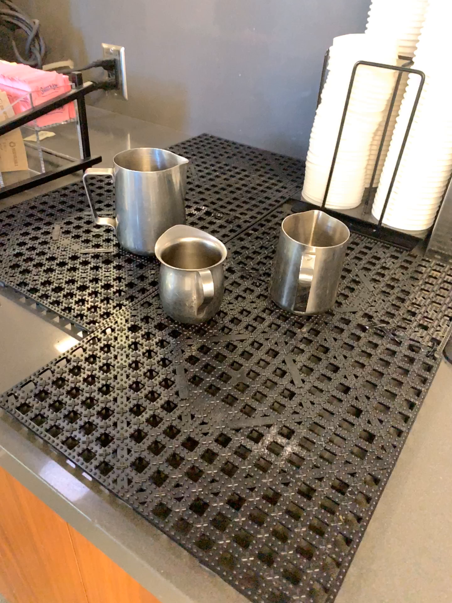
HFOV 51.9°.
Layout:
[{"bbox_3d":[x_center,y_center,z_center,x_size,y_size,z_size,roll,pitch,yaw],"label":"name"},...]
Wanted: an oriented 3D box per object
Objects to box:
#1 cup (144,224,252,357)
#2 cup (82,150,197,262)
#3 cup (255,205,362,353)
[{"bbox_3d":[-0.032,-0.015,0.453,0.070,0.070,0.111,-10,39,-19],"label":"cup"},{"bbox_3d":[-0.099,-0.113,0.554,0.120,0.109,0.070,-2,37,-9],"label":"cup"},{"bbox_3d":[0.086,-0.028,0.472,0.080,0.080,0.131,12,37,10],"label":"cup"}]
